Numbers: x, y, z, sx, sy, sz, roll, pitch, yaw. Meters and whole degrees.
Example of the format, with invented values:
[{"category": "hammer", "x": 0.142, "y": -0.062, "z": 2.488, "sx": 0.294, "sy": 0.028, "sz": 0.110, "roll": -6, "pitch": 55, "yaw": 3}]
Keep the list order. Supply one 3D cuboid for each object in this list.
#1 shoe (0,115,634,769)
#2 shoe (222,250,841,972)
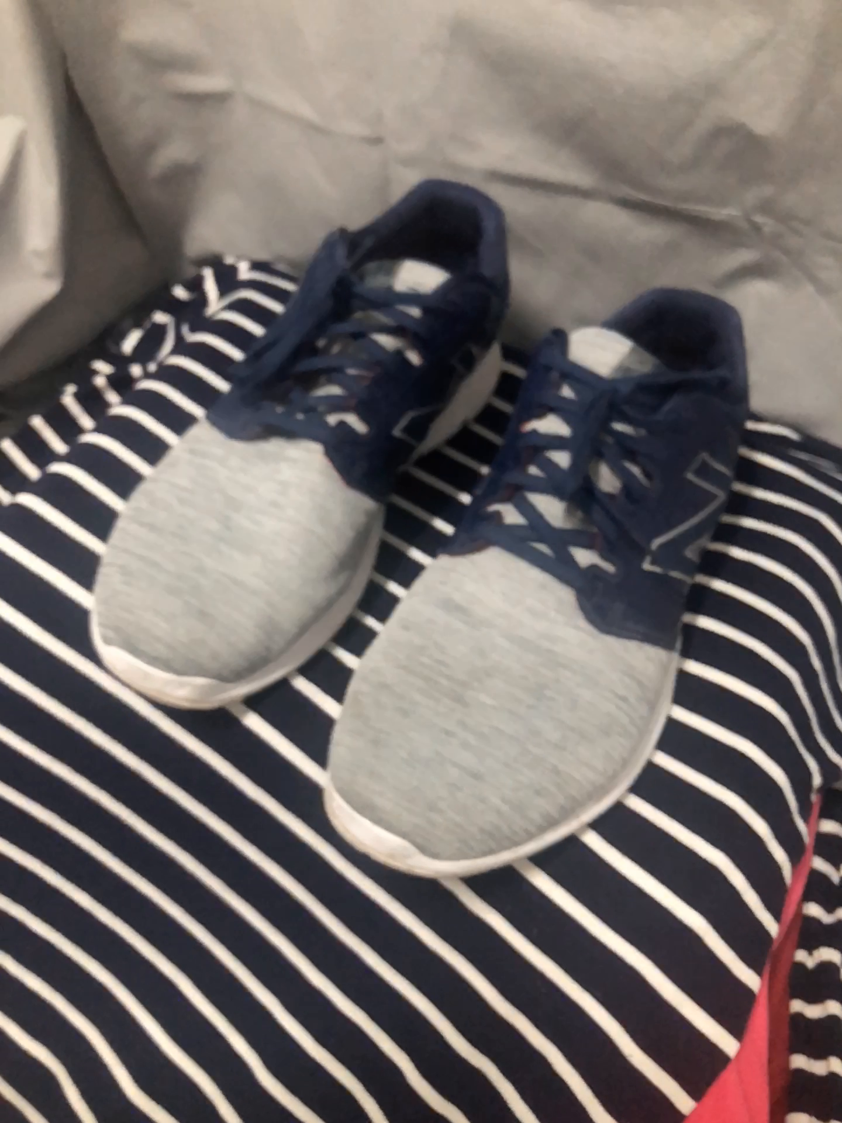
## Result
[{"category": "shoe", "x": -0.029, "y": -0.081, "z": 0.419, "sx": 0.120, "sy": 0.089, "sz": 0.322, "roll": 26, "pitch": 51, "yaw": 15}, {"category": "shoe", "x": 0.057, "y": -0.007, "z": 0.357, "sx": 0.120, "sy": 0.079, "sz": 0.262, "roll": 26, "pitch": 51, "yaw": 15}]
